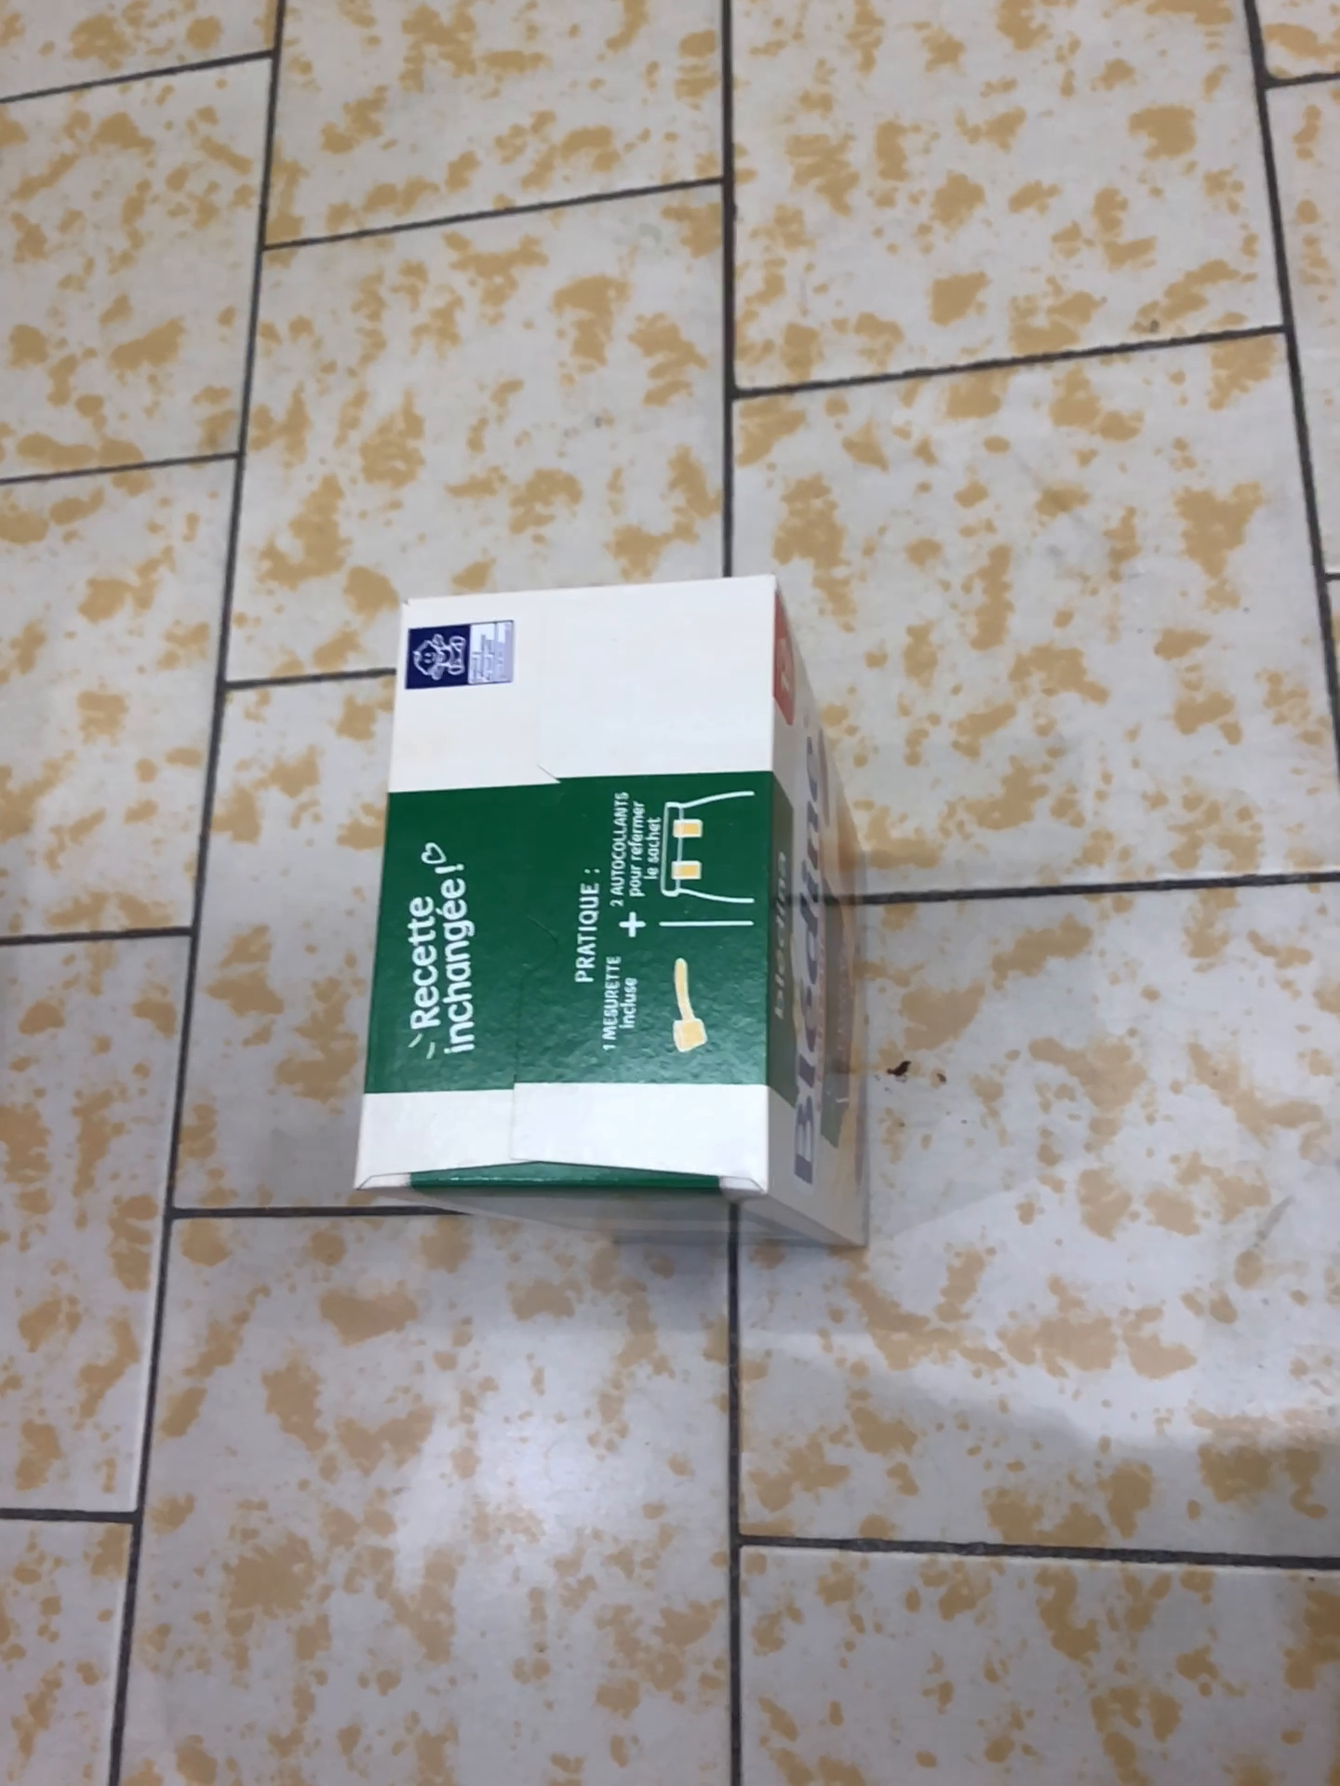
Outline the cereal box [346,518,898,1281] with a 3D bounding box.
[{"bbox_3d":[0.006,0.020,0.340,0.080,0.180,0.130,-1,75,12],"label":"cereal box"}]
